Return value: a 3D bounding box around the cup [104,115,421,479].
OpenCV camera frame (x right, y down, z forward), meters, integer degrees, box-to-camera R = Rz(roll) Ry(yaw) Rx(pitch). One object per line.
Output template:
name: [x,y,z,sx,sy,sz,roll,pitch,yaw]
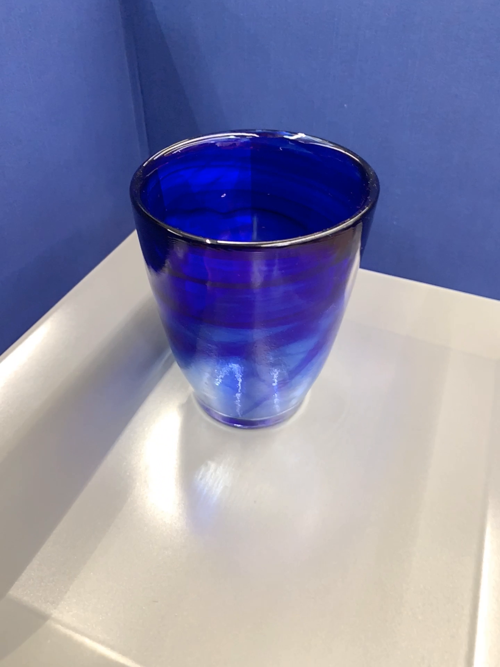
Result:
cup: [0.000,-0.018,0.223,0.087,0.111,0.082,0,40,0]
